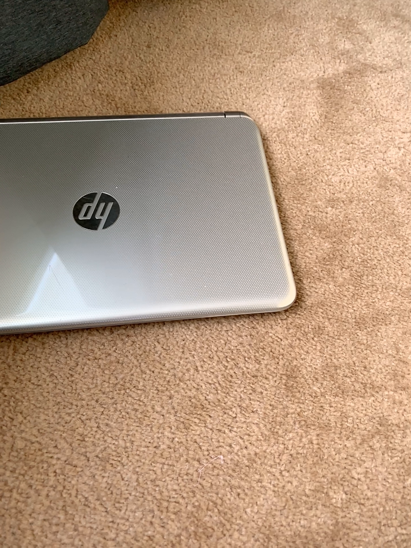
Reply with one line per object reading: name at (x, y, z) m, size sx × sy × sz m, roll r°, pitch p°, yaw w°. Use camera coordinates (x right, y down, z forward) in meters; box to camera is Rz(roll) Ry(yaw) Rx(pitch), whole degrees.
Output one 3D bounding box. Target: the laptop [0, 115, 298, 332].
laptop at (-0.099, -0.064, 0.391) m, size 0.328 × 0.002 × 0.223 m, roll -4°, pitch 62°, yaw -5°
